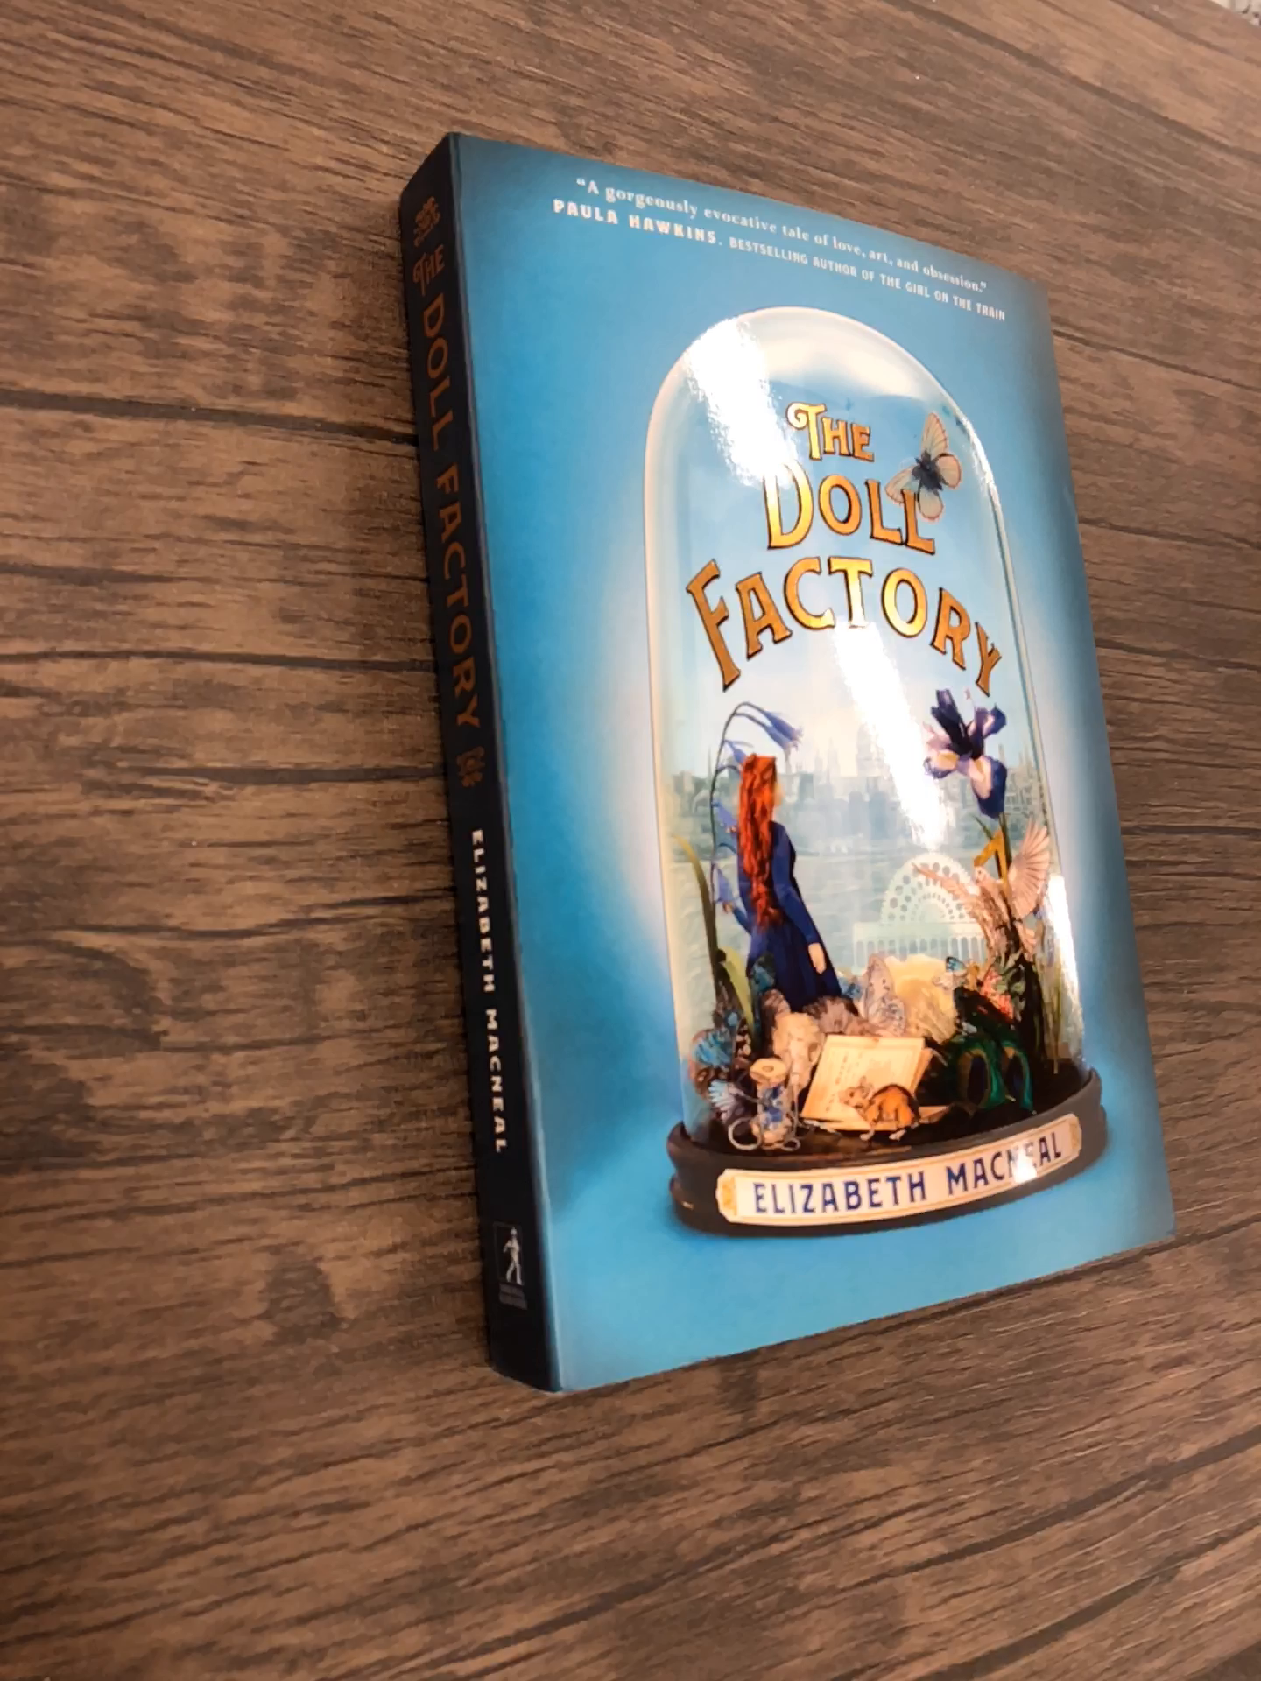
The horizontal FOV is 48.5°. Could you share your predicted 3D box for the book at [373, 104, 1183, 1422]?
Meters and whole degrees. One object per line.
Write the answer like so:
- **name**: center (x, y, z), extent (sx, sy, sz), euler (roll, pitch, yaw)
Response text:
- **book**: center (0.036, -0.018, 0.301), extent (0.161, 0.040, 0.230), euler (-2, 82, -34)
